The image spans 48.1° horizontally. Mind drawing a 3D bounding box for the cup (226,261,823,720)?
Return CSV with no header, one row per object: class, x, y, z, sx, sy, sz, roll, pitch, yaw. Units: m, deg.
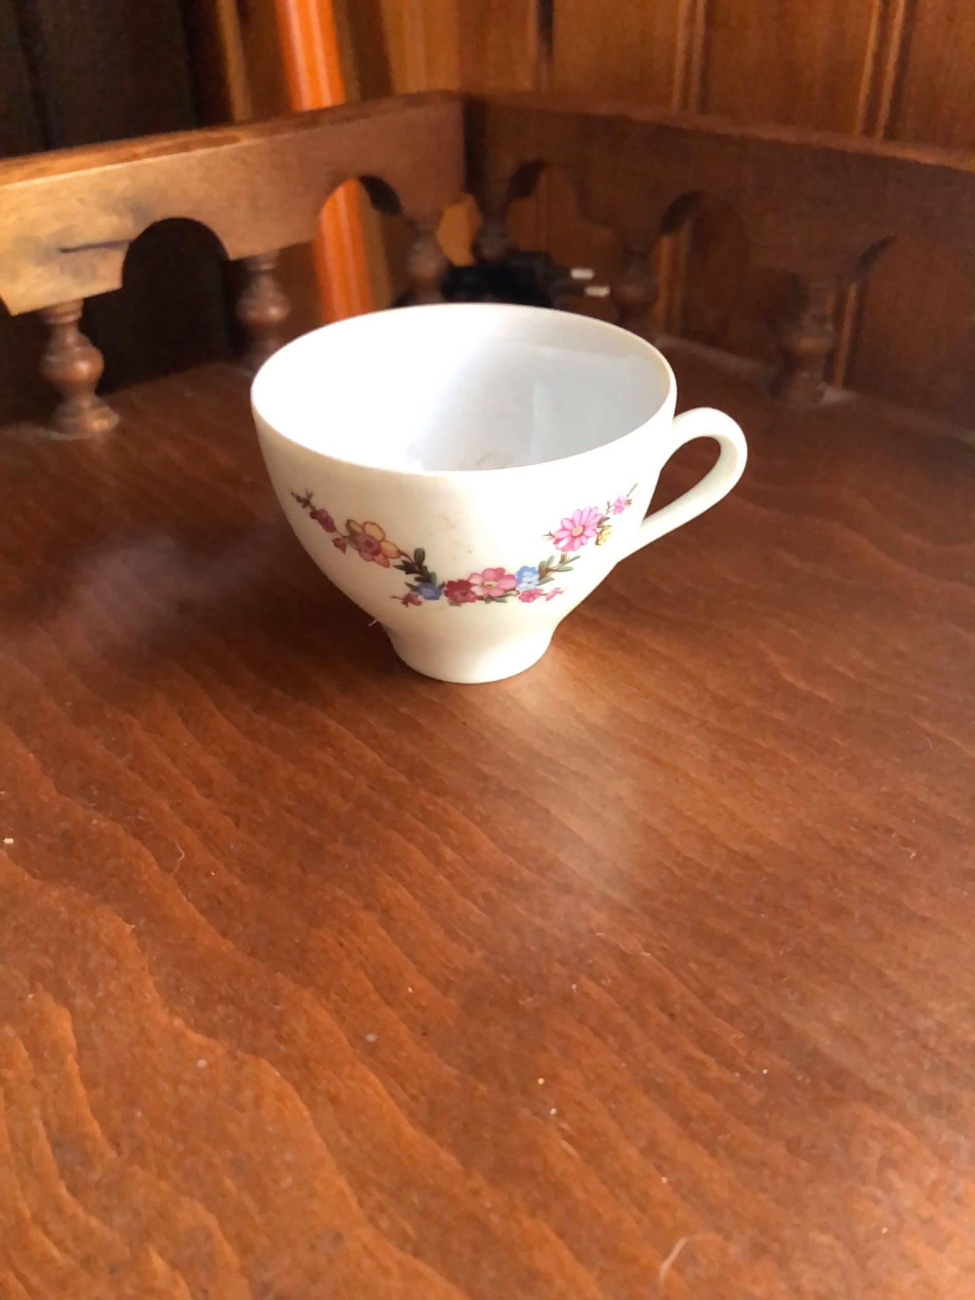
cup,0.002,-0.035,0.210,0.090,0.050,0.080,-5,35,-5
